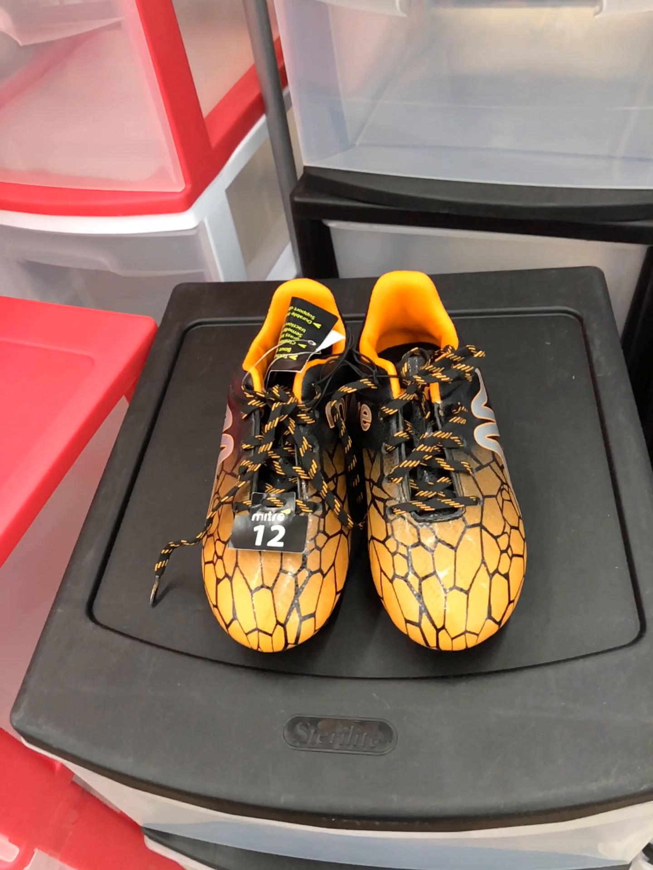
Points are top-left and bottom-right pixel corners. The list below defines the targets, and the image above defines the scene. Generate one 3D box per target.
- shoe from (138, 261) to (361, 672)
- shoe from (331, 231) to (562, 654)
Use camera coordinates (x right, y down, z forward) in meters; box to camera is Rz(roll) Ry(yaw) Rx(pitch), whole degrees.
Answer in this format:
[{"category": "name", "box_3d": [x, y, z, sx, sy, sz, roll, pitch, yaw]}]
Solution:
[{"category": "shoe", "box_3d": [-0.027, 0.007, 0.373, 0.080, 0.080, 0.200, -4, 49, 6]}, {"category": "shoe", "box_3d": [0.047, -0.007, 0.350, 0.080, 0.070, 0.200, -5, 49, 5]}]
